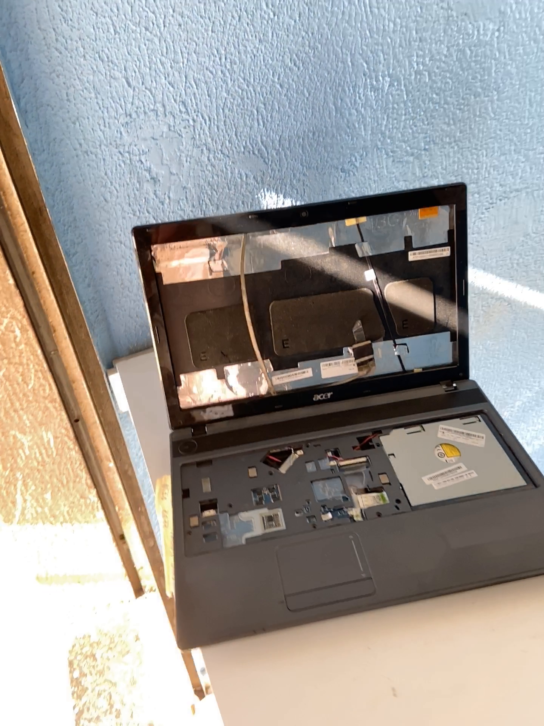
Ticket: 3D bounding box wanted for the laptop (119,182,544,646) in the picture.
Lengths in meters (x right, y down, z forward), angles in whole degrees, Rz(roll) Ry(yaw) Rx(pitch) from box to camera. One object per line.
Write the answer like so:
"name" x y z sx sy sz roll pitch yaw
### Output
"laptop" 0.071 0.014 0.551 0.378 0.210 0.351 -9 39 -5
